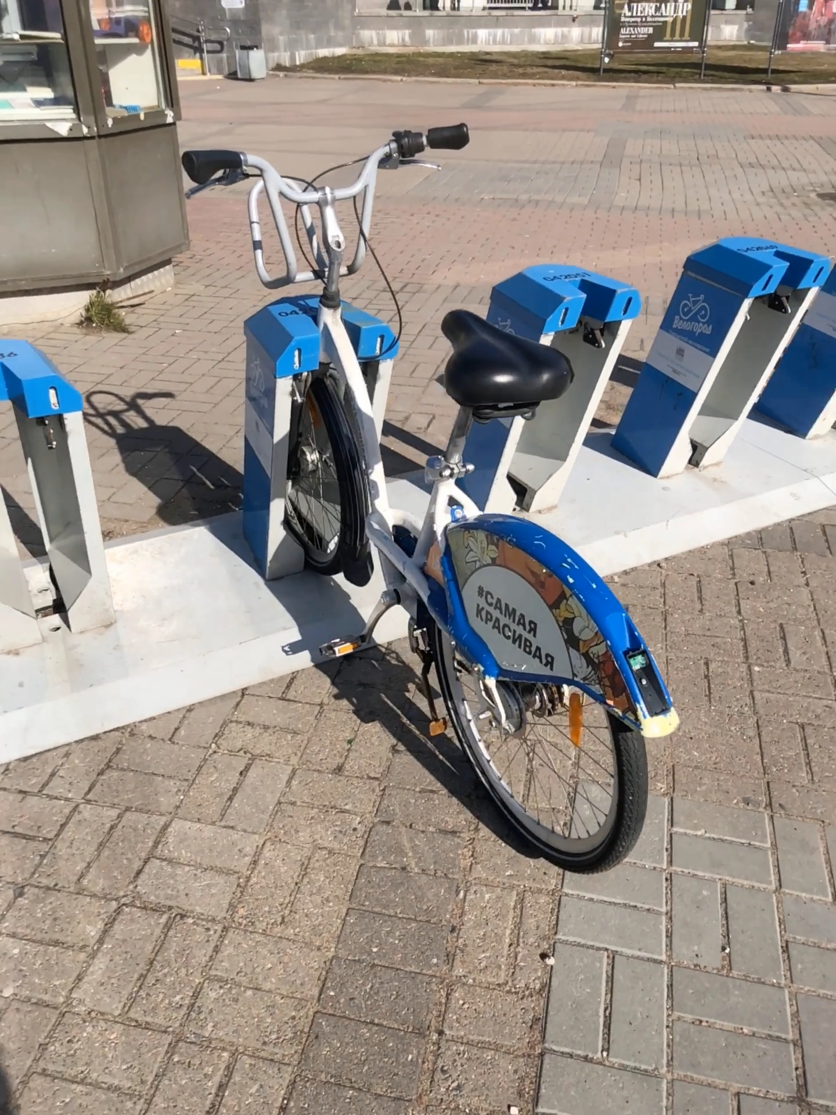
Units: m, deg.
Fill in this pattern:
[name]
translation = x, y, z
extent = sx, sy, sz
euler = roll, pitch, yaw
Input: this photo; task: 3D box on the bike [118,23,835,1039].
[bike]
translation = -0.017, -0.281, 1.856
extent = 0.596, 1.203, 1.635
euler = -15, 38, -24
